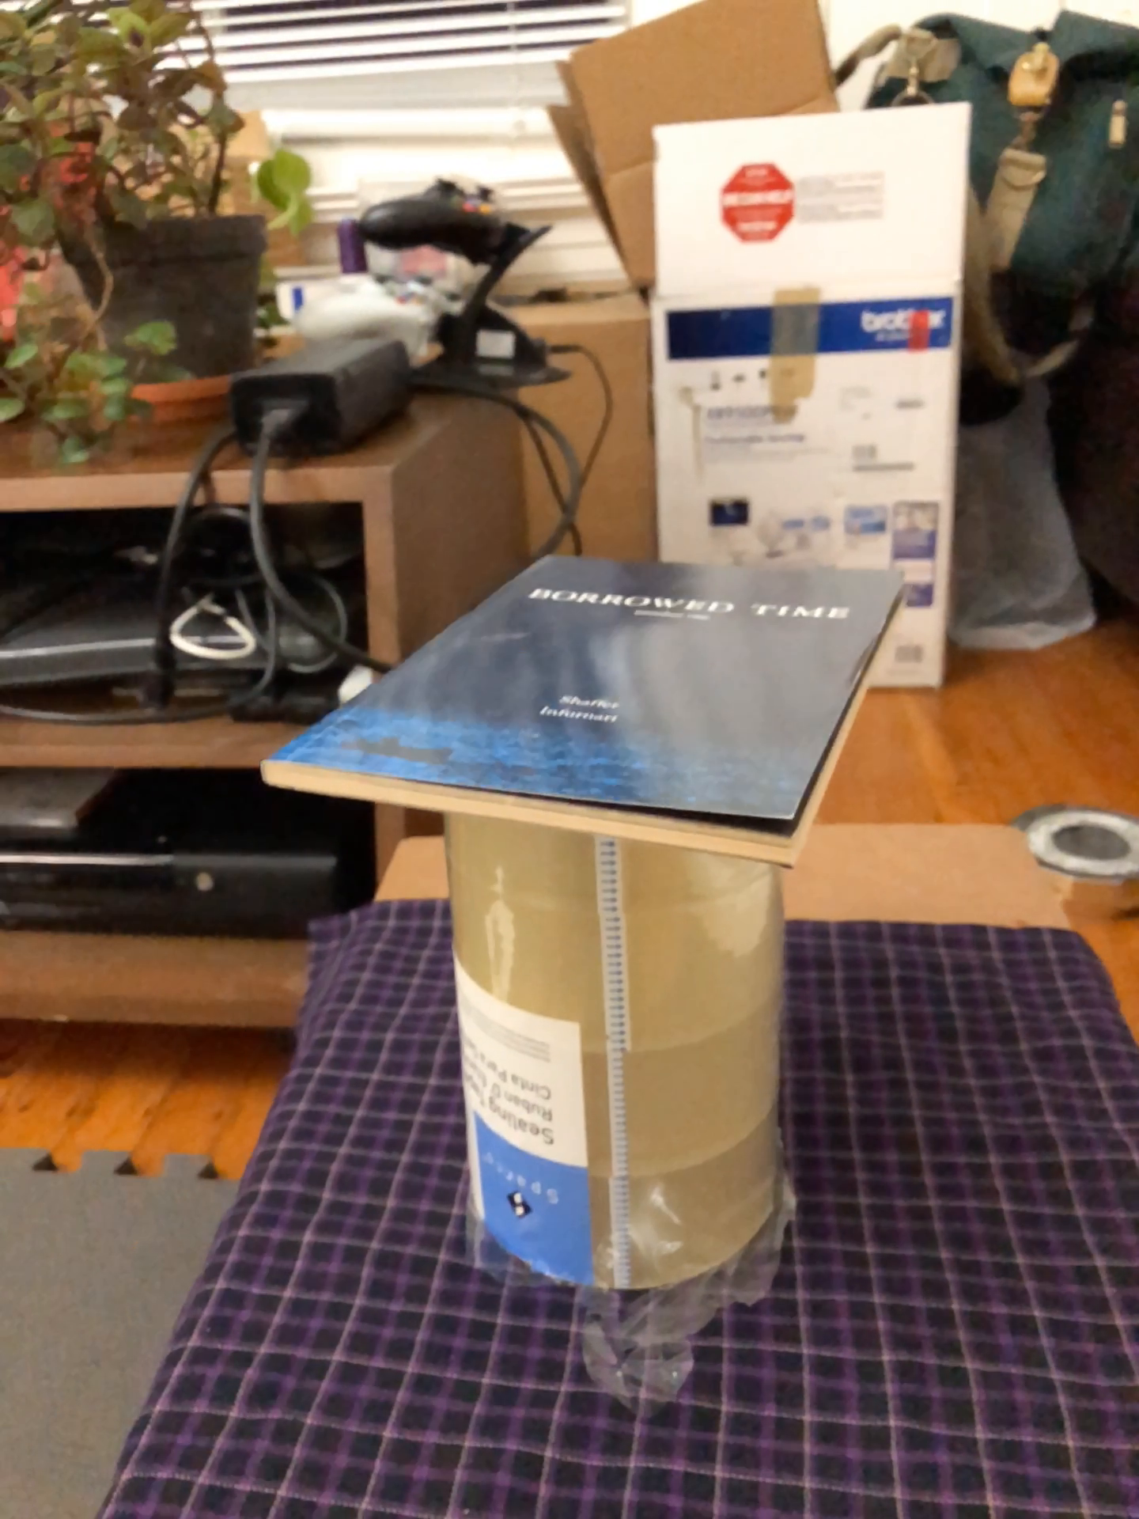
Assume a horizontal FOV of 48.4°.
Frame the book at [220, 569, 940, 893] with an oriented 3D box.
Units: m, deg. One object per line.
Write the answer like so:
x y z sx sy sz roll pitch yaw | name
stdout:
0.024 -0.025 0.405 0.160 0.010 0.231 7 23 20 | book
